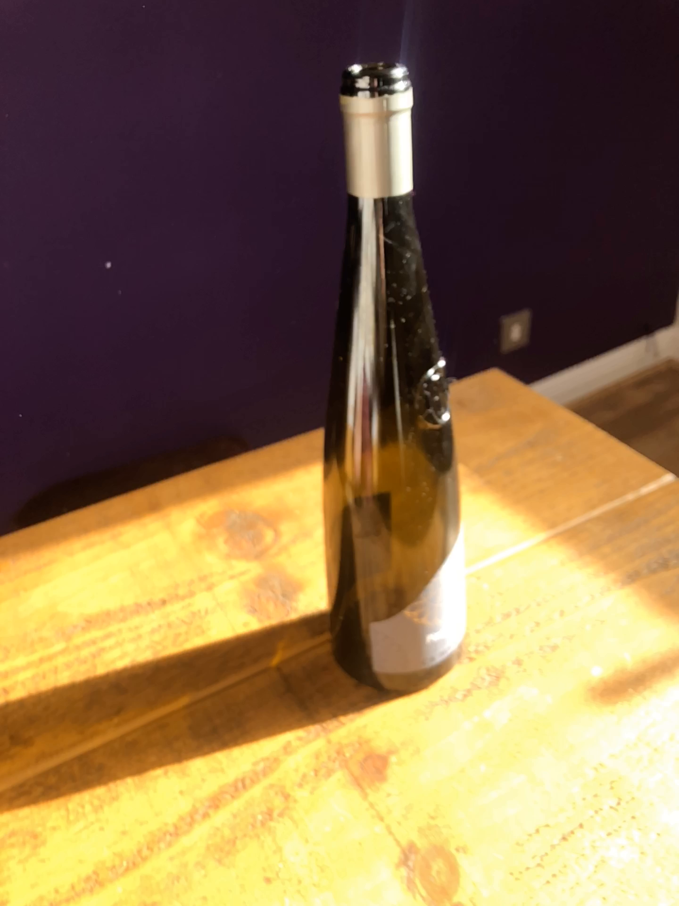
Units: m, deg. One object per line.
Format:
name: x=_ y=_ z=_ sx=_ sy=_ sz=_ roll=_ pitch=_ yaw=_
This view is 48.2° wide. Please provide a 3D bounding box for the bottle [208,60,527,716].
bottle: x=0.024 y=-0.022 z=0.421 sx=0.100 sy=0.337 sz=0.101 roll=-3 pitch=33 yaw=2
